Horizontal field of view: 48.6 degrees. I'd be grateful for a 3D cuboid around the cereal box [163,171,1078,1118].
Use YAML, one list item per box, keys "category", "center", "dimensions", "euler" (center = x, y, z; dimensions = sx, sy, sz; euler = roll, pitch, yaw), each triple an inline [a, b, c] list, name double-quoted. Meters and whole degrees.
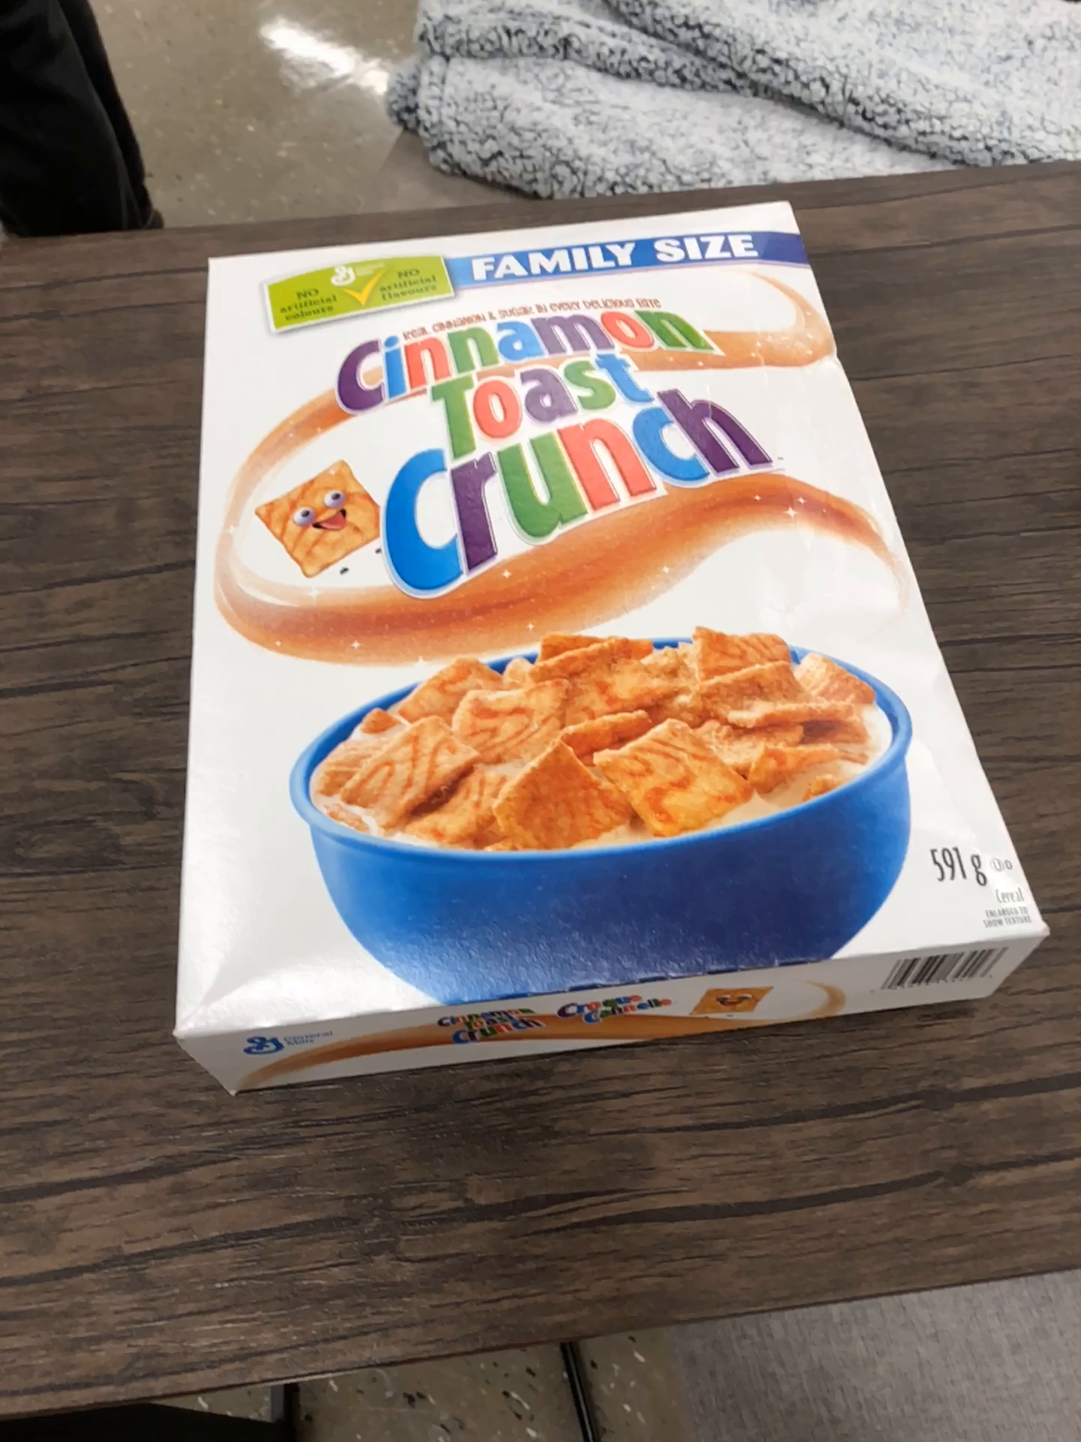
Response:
- category: "cereal box"
  center: [0.004, -0.058, 0.449]
  dimensions: [0.250, 0.070, 0.361]
  euler: [-6, 58, -4]
